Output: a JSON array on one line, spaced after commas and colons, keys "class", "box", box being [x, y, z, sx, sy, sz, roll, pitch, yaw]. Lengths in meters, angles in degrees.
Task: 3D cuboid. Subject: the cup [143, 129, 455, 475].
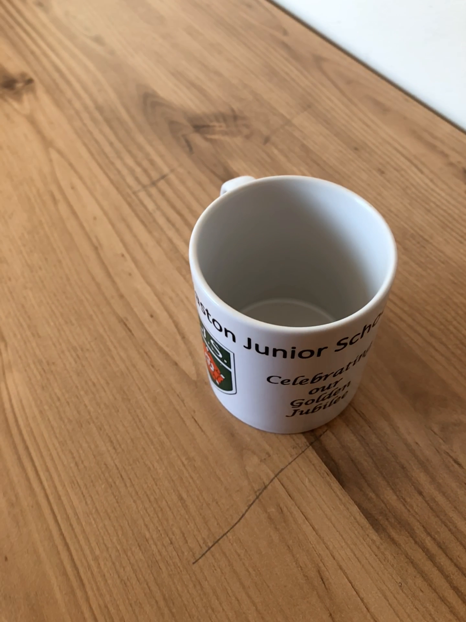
[{"class": "cup", "box": [0.022, -0.006, 0.250, 0.083, 0.096, 0.110, -21, 52, -14]}]
